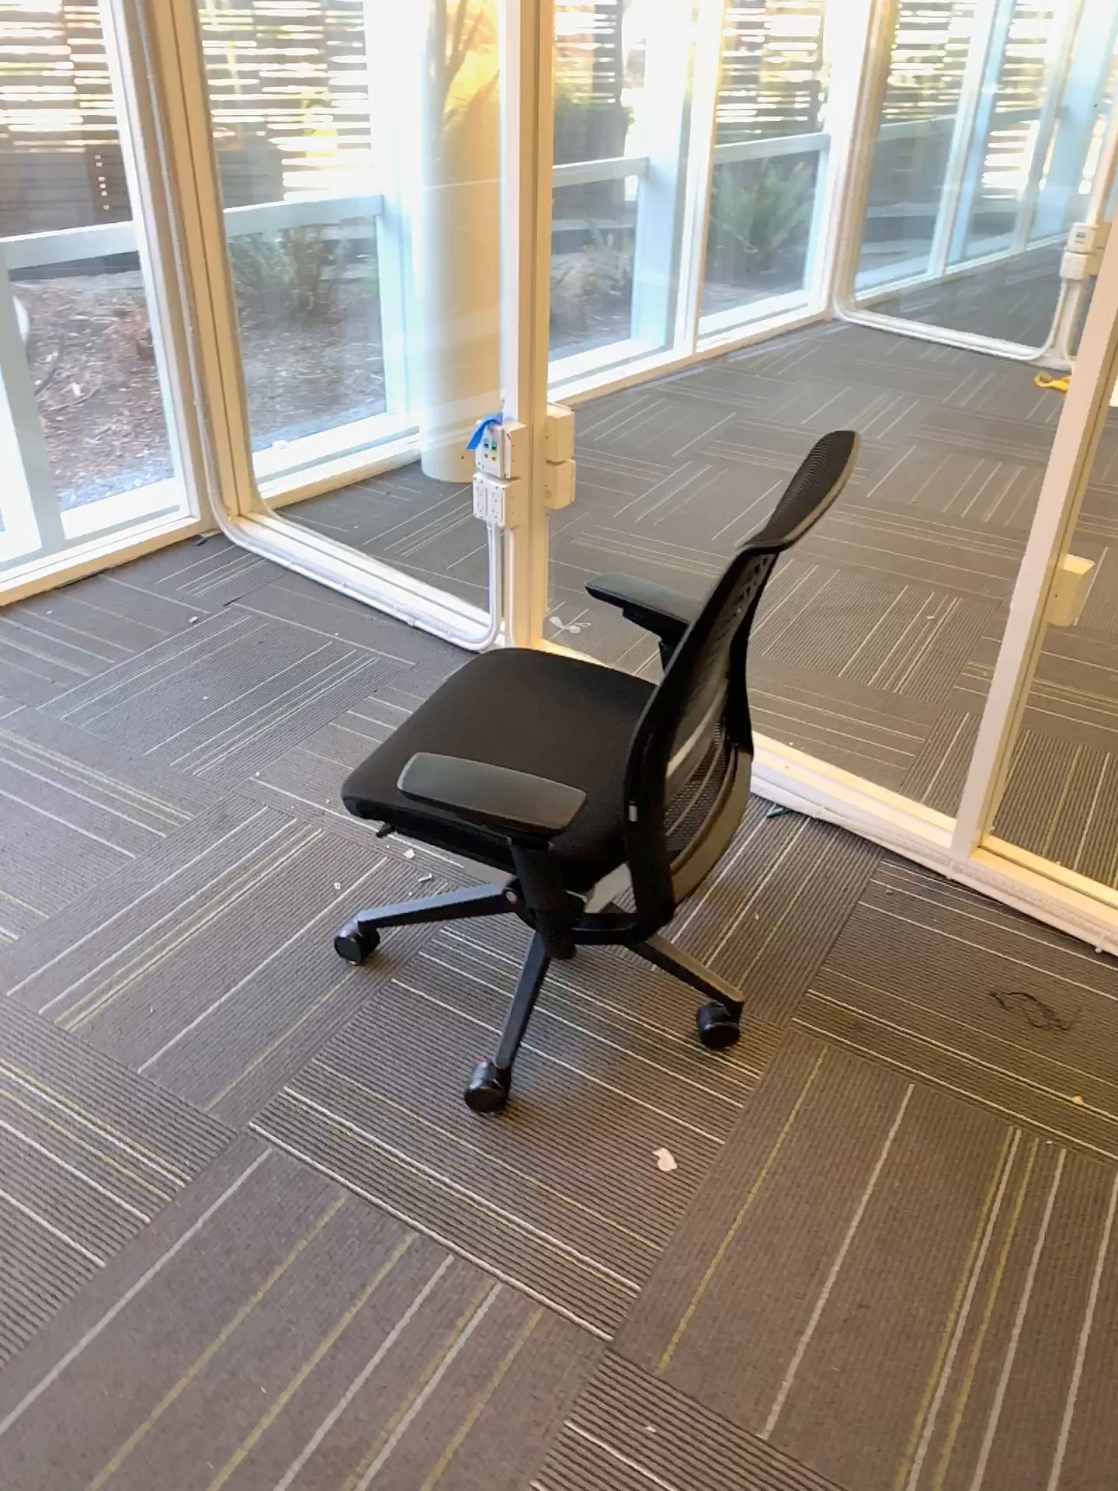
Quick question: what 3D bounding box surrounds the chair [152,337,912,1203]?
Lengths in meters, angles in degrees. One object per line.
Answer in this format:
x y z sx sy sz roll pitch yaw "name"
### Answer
-0.004 -0.021 1.672 0.712 0.875 0.693 17 36 22 "chair"
